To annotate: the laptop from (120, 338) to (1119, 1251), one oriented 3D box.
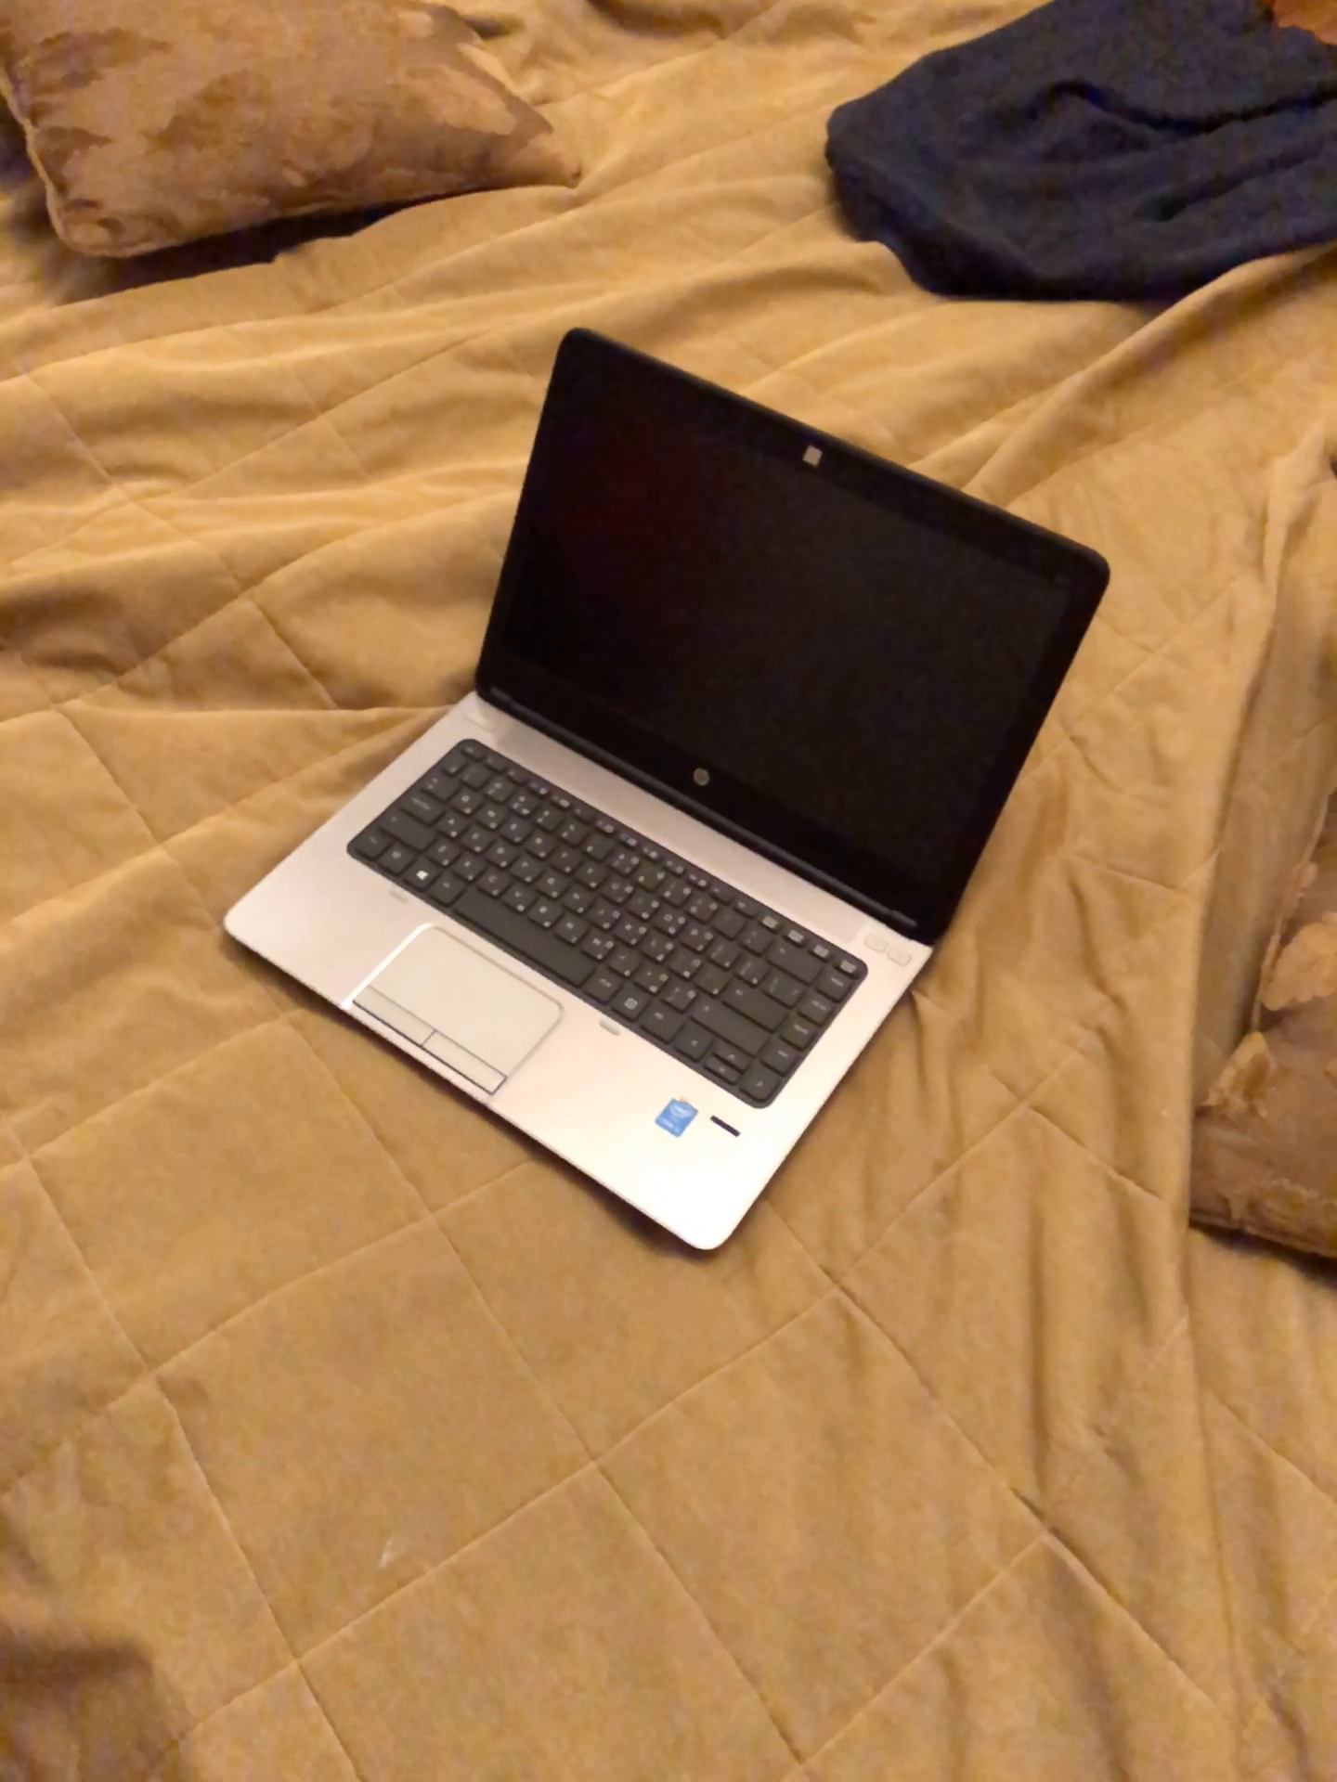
[{"bbox_3d":[-0.016,-0.069,0.770,0.332,0.189,0.340,30,60,20],"label":"laptop"}]
